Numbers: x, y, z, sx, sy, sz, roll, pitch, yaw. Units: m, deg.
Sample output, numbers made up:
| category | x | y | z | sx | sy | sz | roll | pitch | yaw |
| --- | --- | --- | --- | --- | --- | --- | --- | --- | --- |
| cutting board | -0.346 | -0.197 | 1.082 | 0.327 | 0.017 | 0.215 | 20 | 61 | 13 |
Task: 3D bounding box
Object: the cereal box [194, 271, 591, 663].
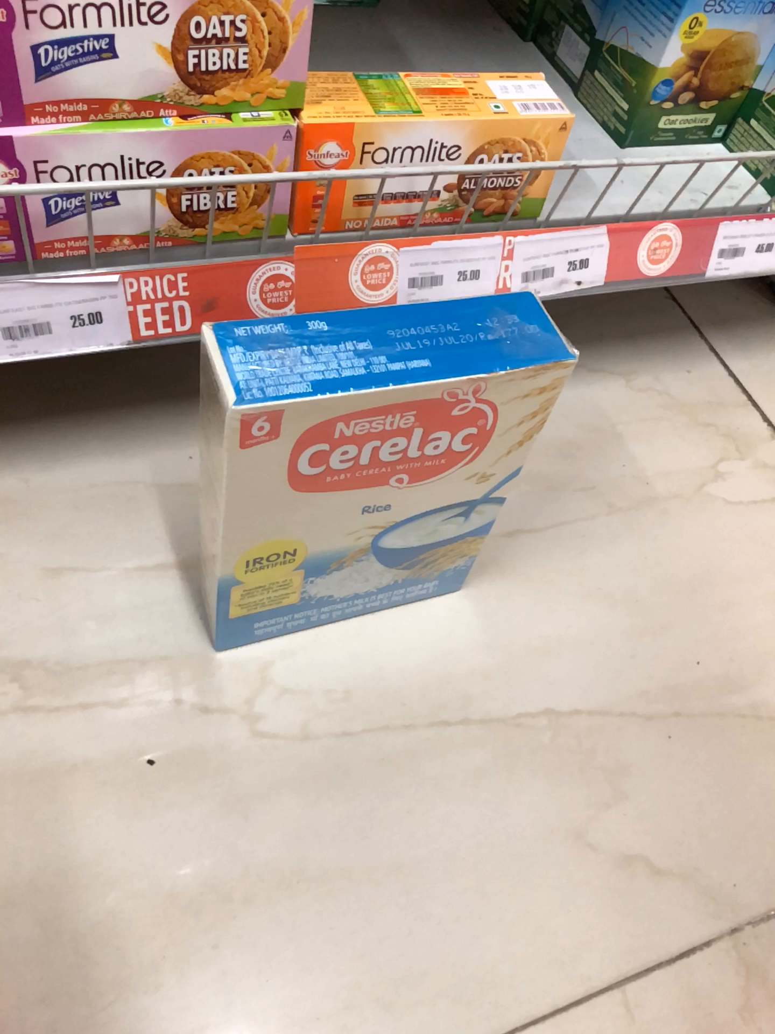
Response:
| category | x | y | z | sx | sy | sz | roll | pitch | yaw |
| --- | --- | --- | --- | --- | --- | --- | --- | --- | --- |
| cereal box | -0.012 | -0.017 | 0.419 | 0.150 | 0.189 | 0.060 | -12 | 58 | -21 |
